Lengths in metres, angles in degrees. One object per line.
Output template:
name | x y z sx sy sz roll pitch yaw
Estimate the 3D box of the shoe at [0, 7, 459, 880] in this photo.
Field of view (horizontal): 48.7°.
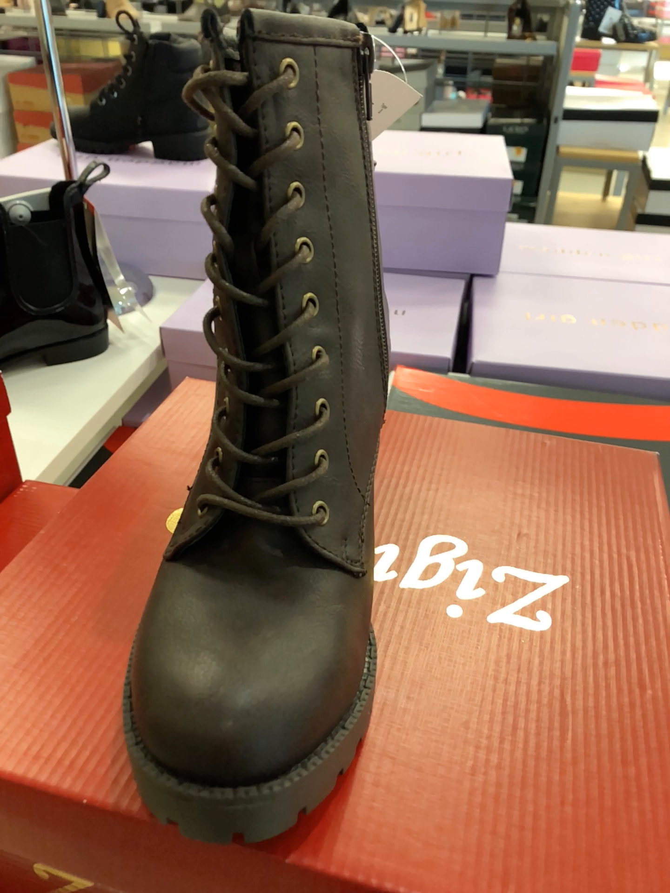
shoe | -0.020 -0.029 0.275 0.100 0.218 0.242 6 33 6
